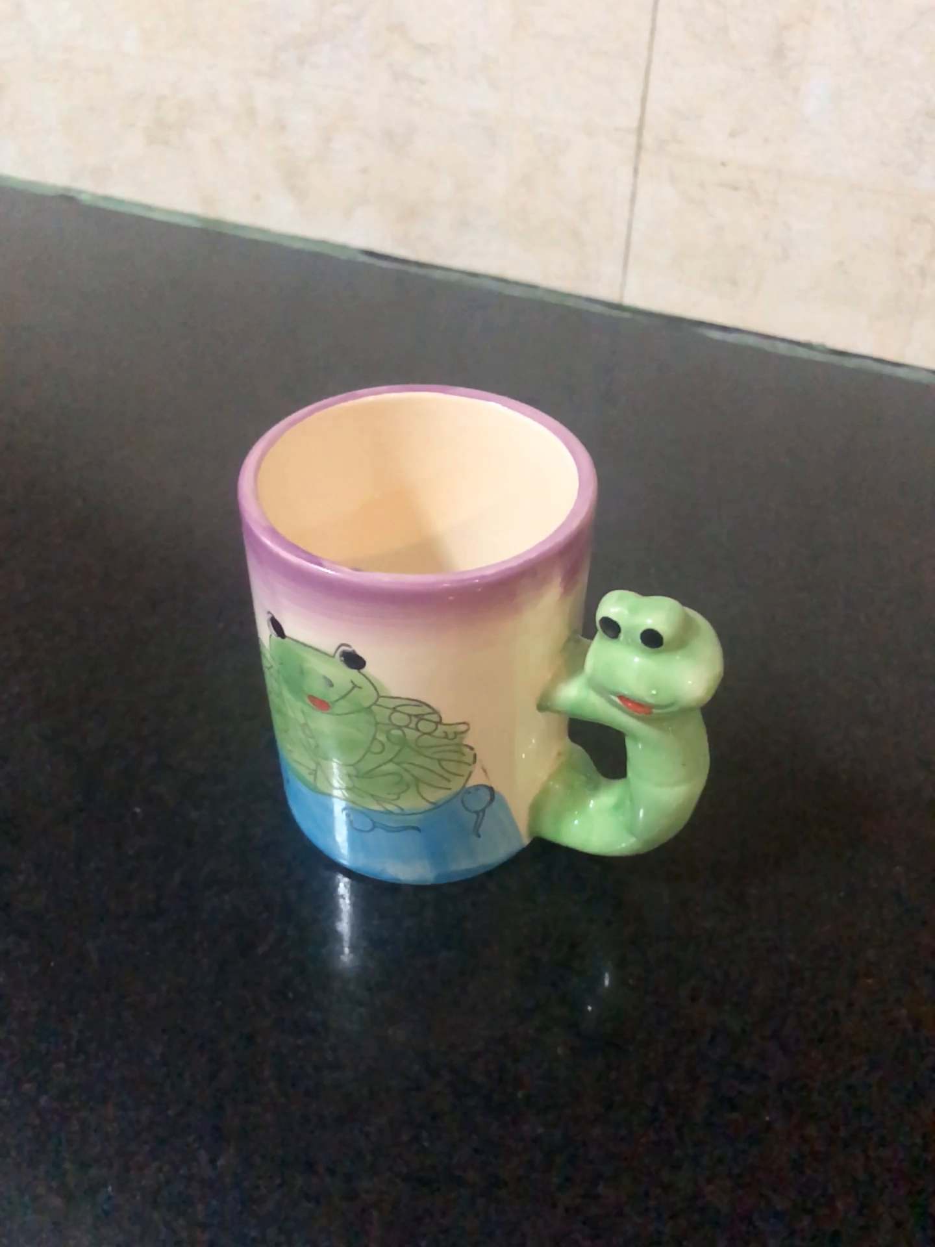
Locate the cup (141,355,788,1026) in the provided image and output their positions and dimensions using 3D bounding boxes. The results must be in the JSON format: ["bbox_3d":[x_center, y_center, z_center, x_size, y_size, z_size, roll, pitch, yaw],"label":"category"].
[{"bbox_3d":[0.004,0.014,0.243,0.110,0.109,0.081,12,41,12],"label":"cup"}]
